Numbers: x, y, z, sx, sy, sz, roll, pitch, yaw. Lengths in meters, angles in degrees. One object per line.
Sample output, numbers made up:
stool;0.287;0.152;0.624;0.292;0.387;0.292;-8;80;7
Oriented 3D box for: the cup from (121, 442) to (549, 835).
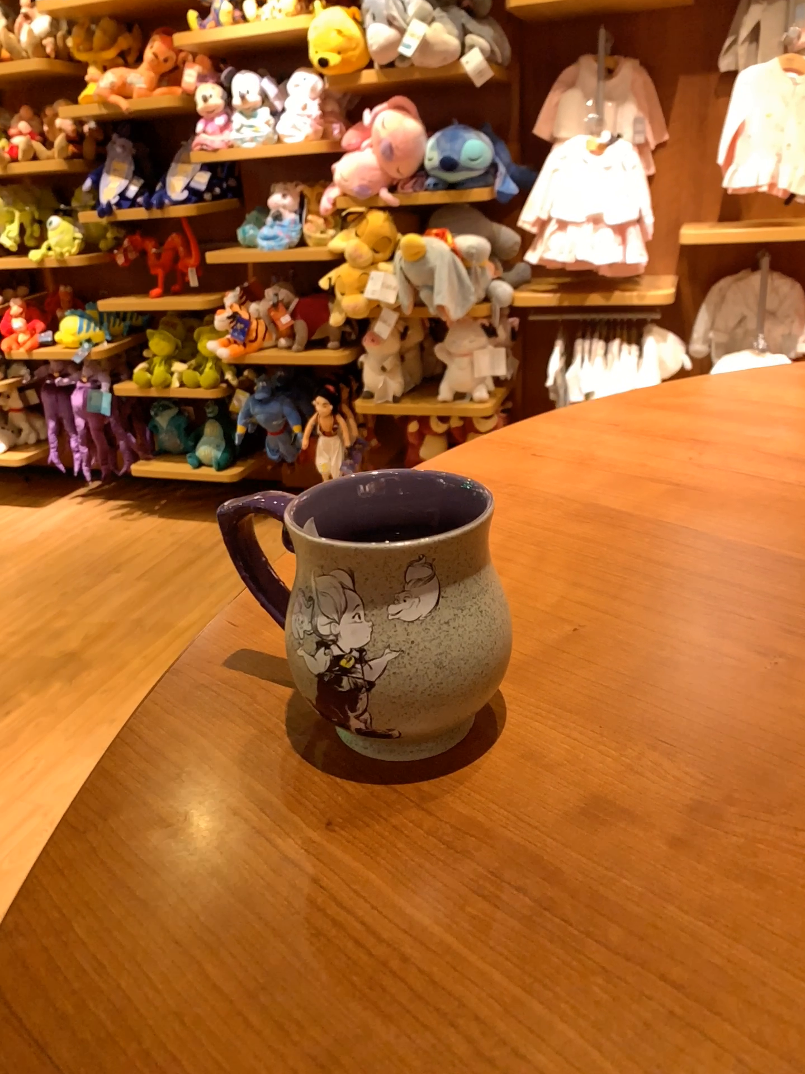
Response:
cup;-0.025;0.030;0.367;0.140;0.099;0.115;14;29;36
